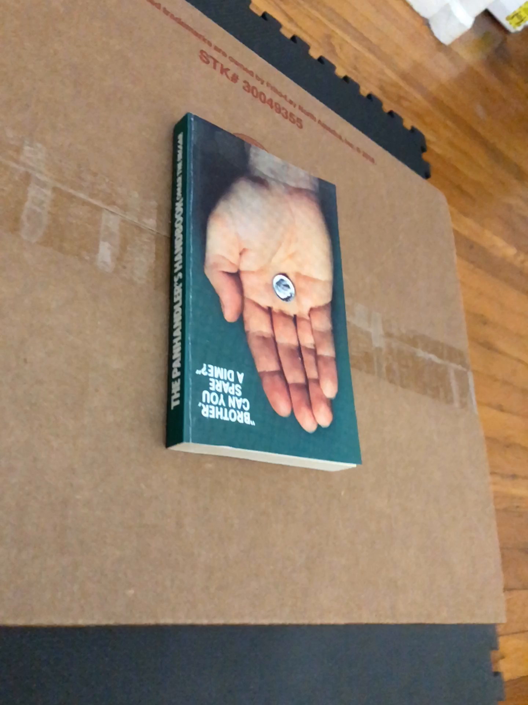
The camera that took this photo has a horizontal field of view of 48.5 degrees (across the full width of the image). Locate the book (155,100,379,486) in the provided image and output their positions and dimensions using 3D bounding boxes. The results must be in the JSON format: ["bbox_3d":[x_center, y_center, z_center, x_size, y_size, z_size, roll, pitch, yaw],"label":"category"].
[{"bbox_3d":[0.004,-0.027,0.306,0.121,0.020,0.180,16,63,-38],"label":"book"}]
